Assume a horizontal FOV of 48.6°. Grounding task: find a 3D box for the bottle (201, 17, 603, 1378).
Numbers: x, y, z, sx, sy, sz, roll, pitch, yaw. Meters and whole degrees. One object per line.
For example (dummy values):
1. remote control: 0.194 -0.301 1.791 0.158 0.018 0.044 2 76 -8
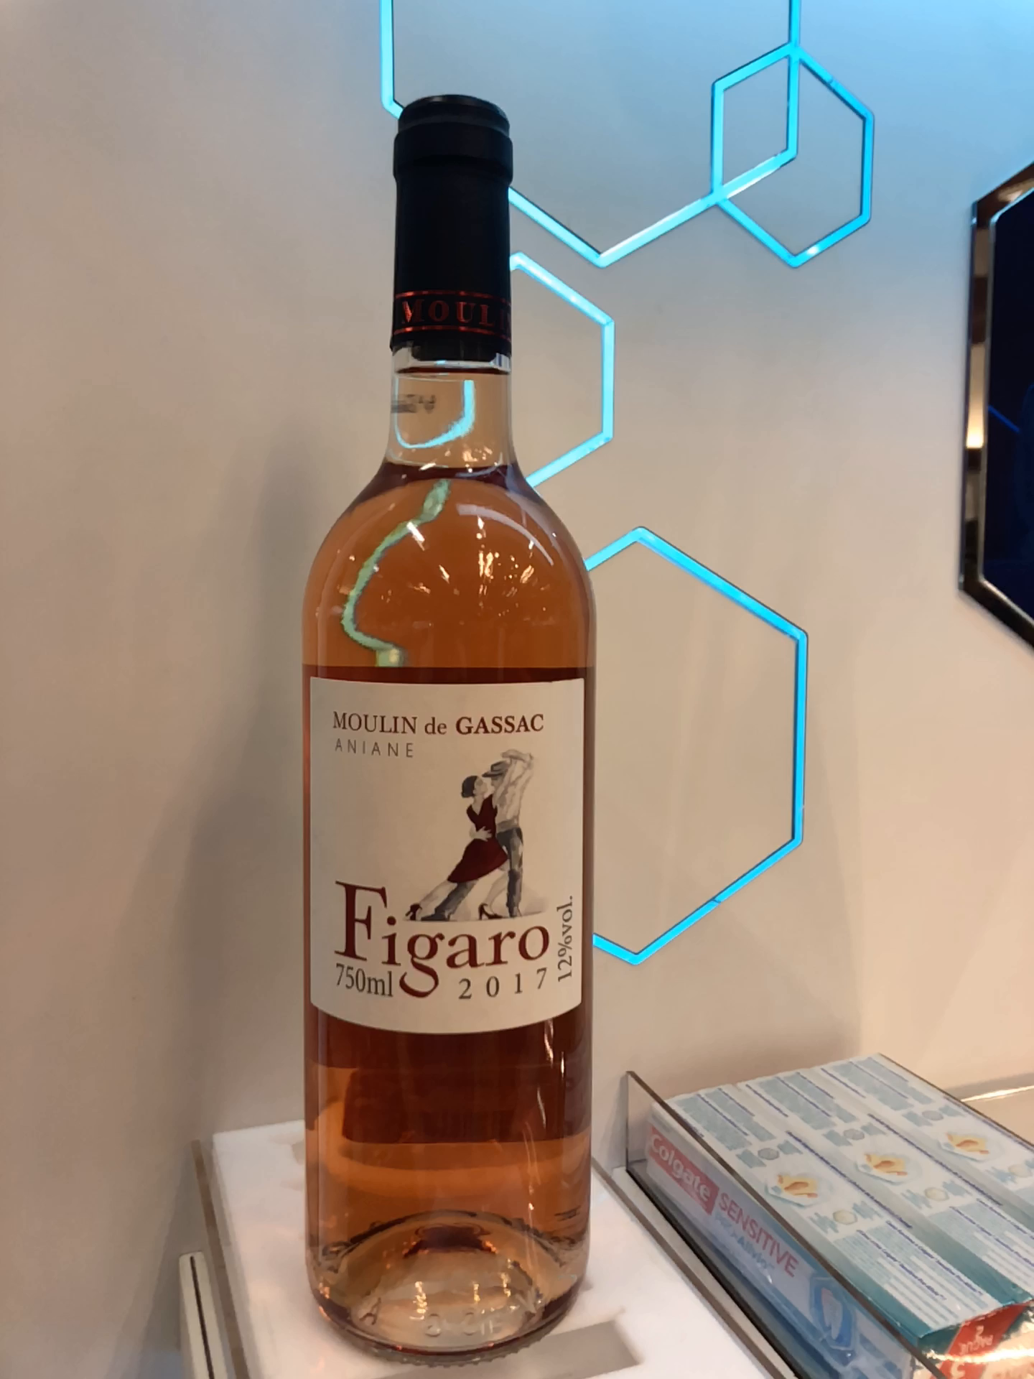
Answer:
1. bottle: -0.027 0.006 0.307 0.090 0.320 0.080 0 4 -2
